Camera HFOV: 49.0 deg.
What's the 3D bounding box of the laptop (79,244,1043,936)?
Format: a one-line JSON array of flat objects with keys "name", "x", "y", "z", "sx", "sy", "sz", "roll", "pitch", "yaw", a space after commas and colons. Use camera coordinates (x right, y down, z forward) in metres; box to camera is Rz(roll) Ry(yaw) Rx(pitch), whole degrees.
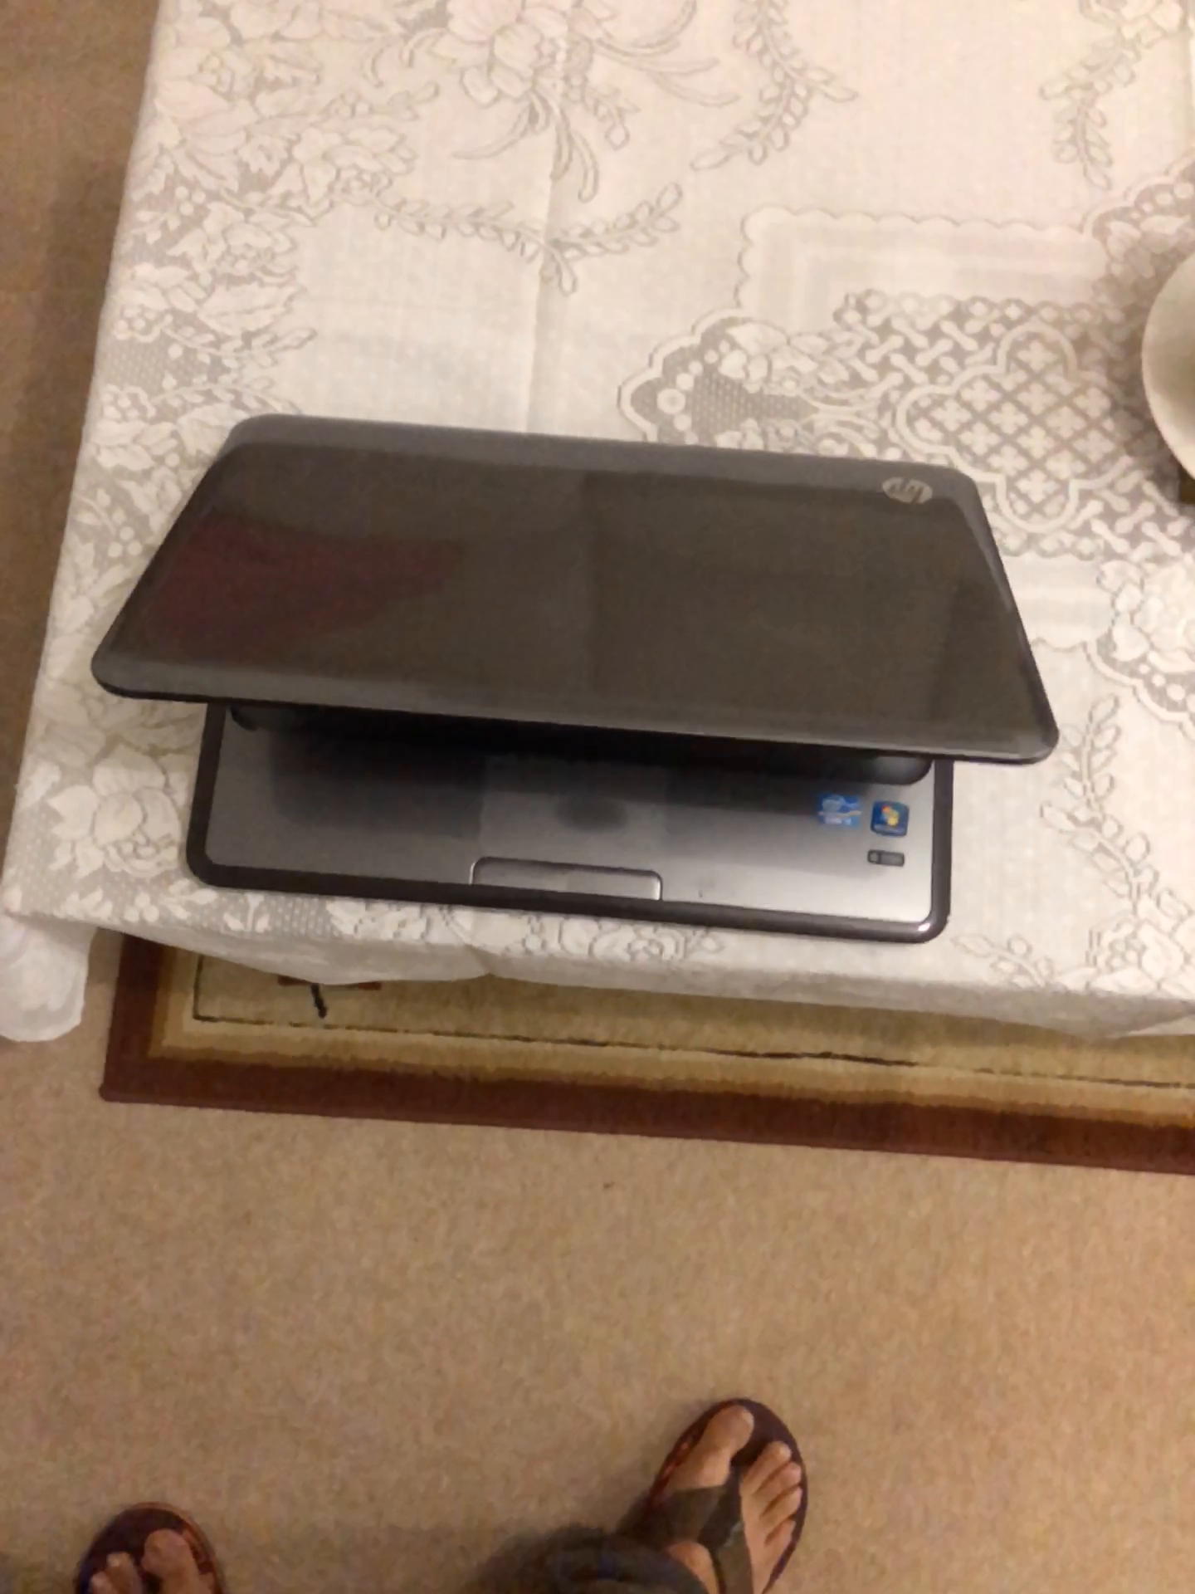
[{"name": "laptop", "x": -0.008, "y": -0.082, "z": 0.580, "sx": 0.360, "sy": 0.139, "sz": 0.238, "roll": 4, "pitch": 77, "yaw": 1}]
